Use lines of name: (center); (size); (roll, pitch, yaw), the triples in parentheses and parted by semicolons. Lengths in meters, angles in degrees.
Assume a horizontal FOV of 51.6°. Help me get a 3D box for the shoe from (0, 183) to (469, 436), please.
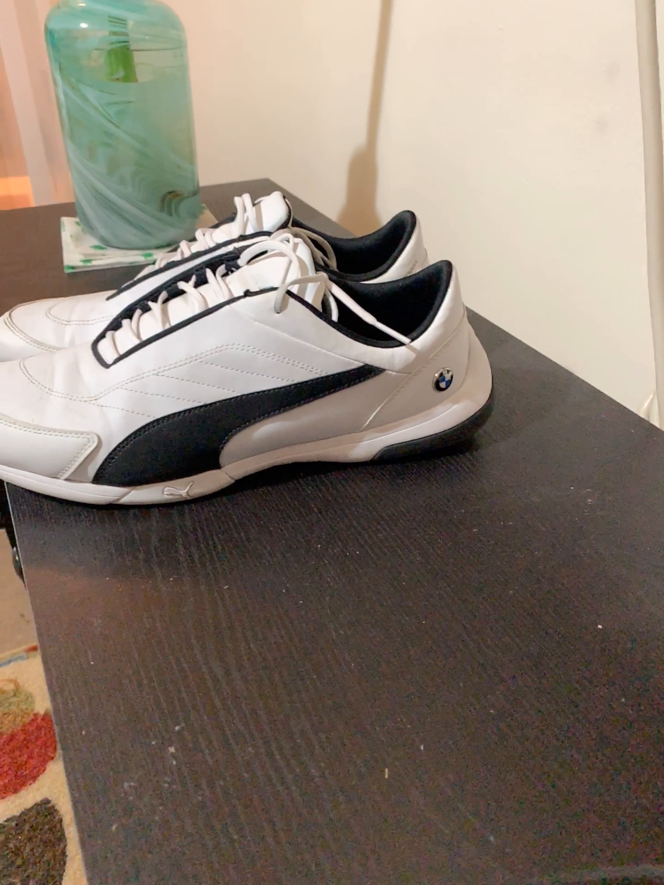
shoe: (-0.070, -0.091, 0.437); (0.280, 0.089, 0.121); (-7, 36, -5)

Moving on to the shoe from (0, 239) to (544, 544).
shoe: (-0.054, -0.033, 0.360); (0.290, 0.089, 0.101); (-7, 36, -5)
